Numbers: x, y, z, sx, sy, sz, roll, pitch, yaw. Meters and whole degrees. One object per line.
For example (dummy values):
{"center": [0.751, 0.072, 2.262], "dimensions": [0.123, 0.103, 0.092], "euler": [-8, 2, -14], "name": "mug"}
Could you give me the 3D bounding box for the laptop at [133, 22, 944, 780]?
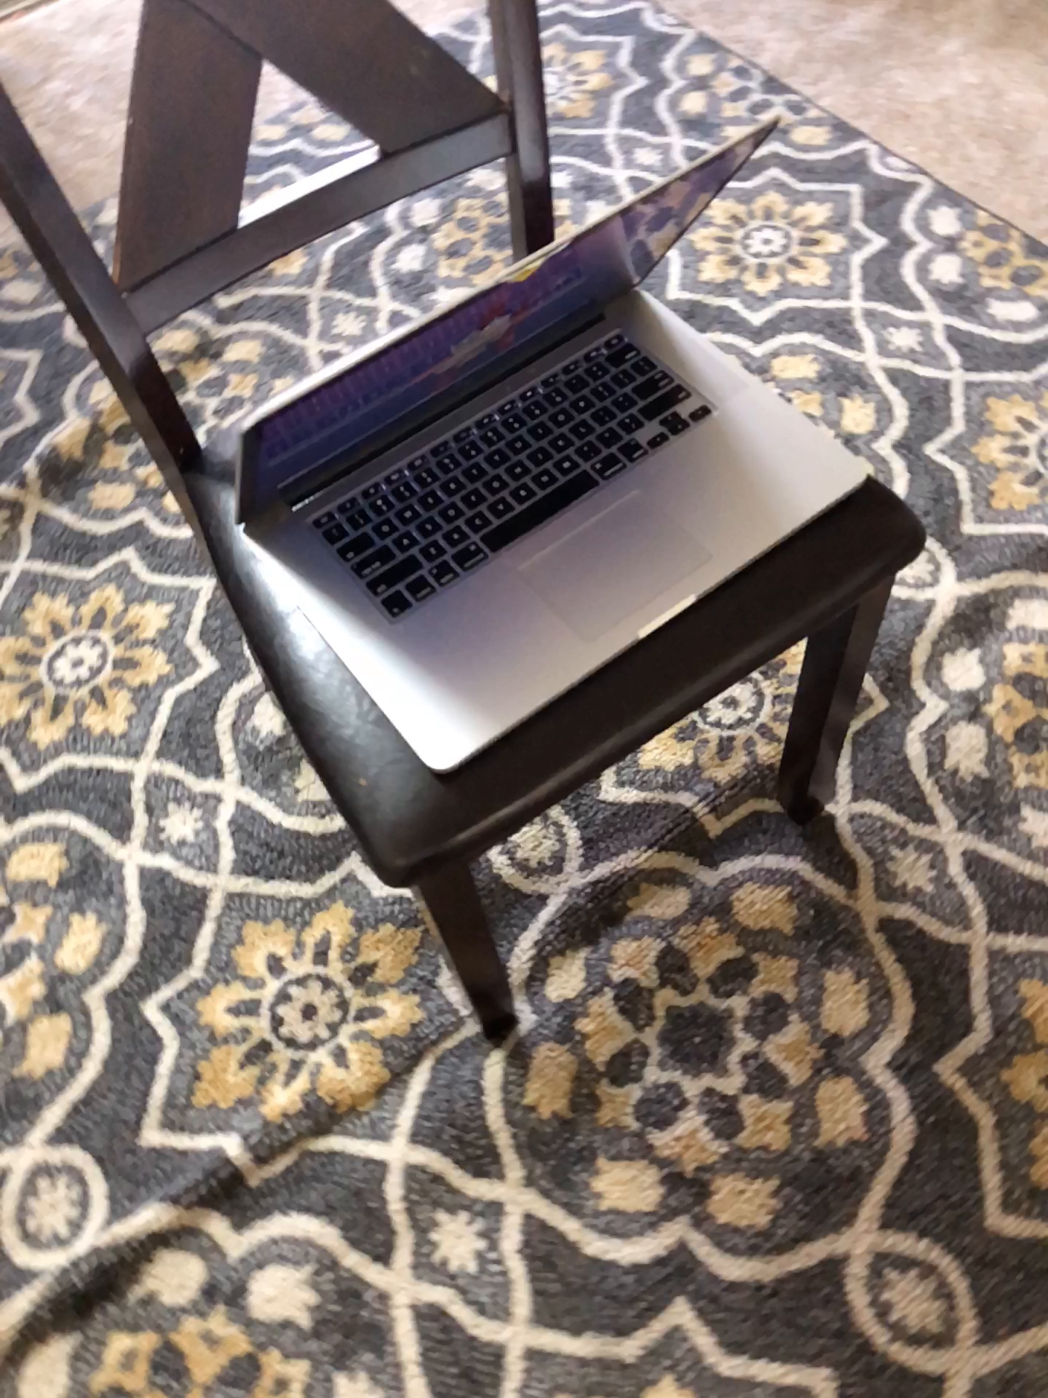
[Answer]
{"center": [0.011, -0.181, 0.677], "dimensions": [0.351, 0.200, 0.237], "euler": [-35, 62, -15], "name": "laptop"}
